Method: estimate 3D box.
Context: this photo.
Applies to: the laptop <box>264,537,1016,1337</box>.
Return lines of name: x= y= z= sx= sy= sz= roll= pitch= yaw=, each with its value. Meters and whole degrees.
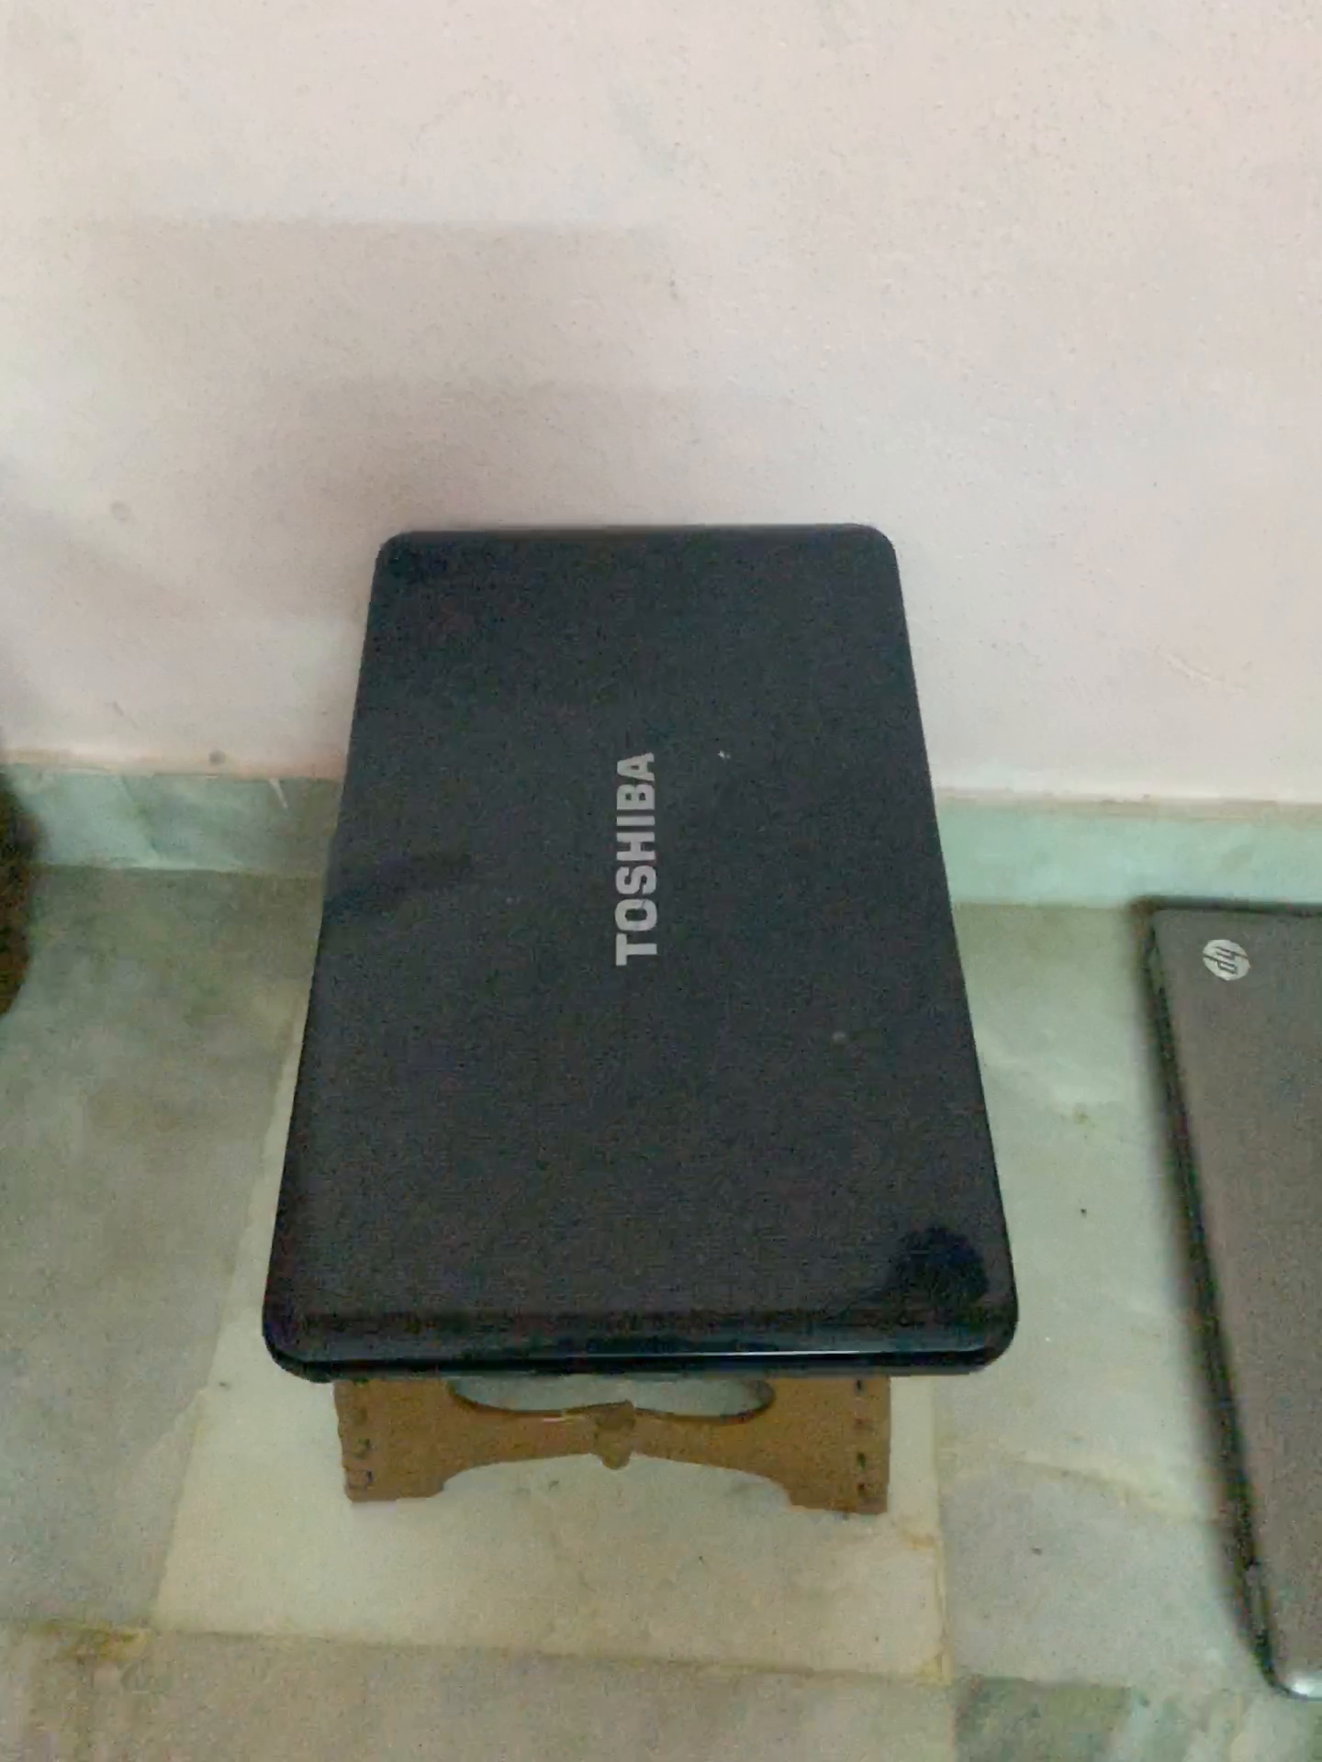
laptop: x=-0.009 y=-0.009 z=0.527 sx=0.236 sy=0.001 sz=0.370 roll=0 pitch=55 yaw=0
